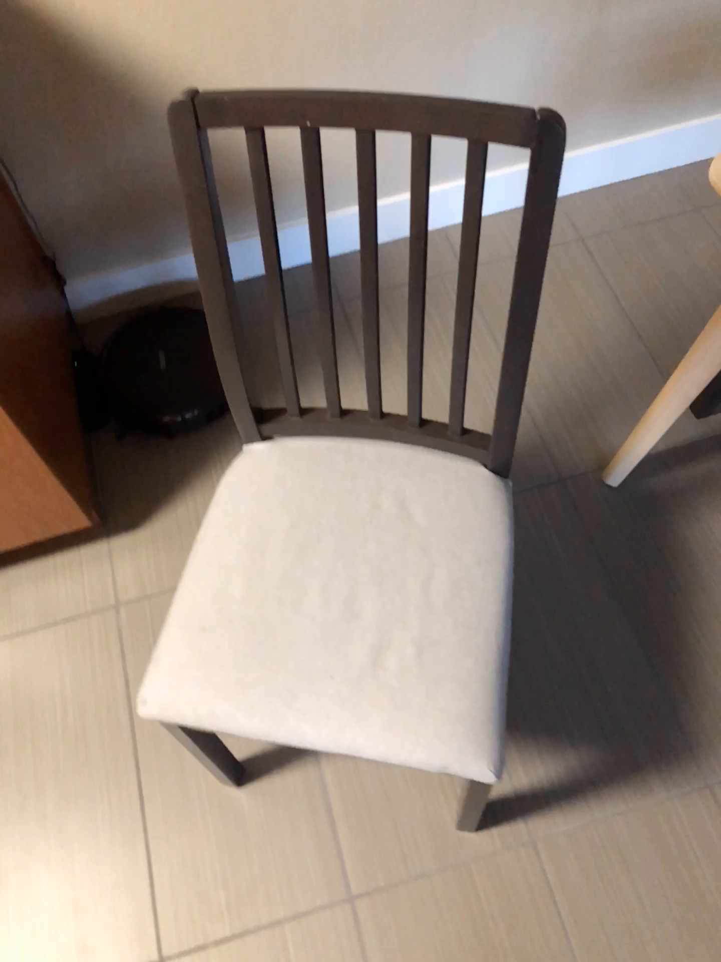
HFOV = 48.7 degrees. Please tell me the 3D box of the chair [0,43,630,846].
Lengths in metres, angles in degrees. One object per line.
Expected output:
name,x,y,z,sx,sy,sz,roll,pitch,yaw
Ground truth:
chair,-0.012,0.103,1.122,0.480,1.127,0.511,11,60,11
